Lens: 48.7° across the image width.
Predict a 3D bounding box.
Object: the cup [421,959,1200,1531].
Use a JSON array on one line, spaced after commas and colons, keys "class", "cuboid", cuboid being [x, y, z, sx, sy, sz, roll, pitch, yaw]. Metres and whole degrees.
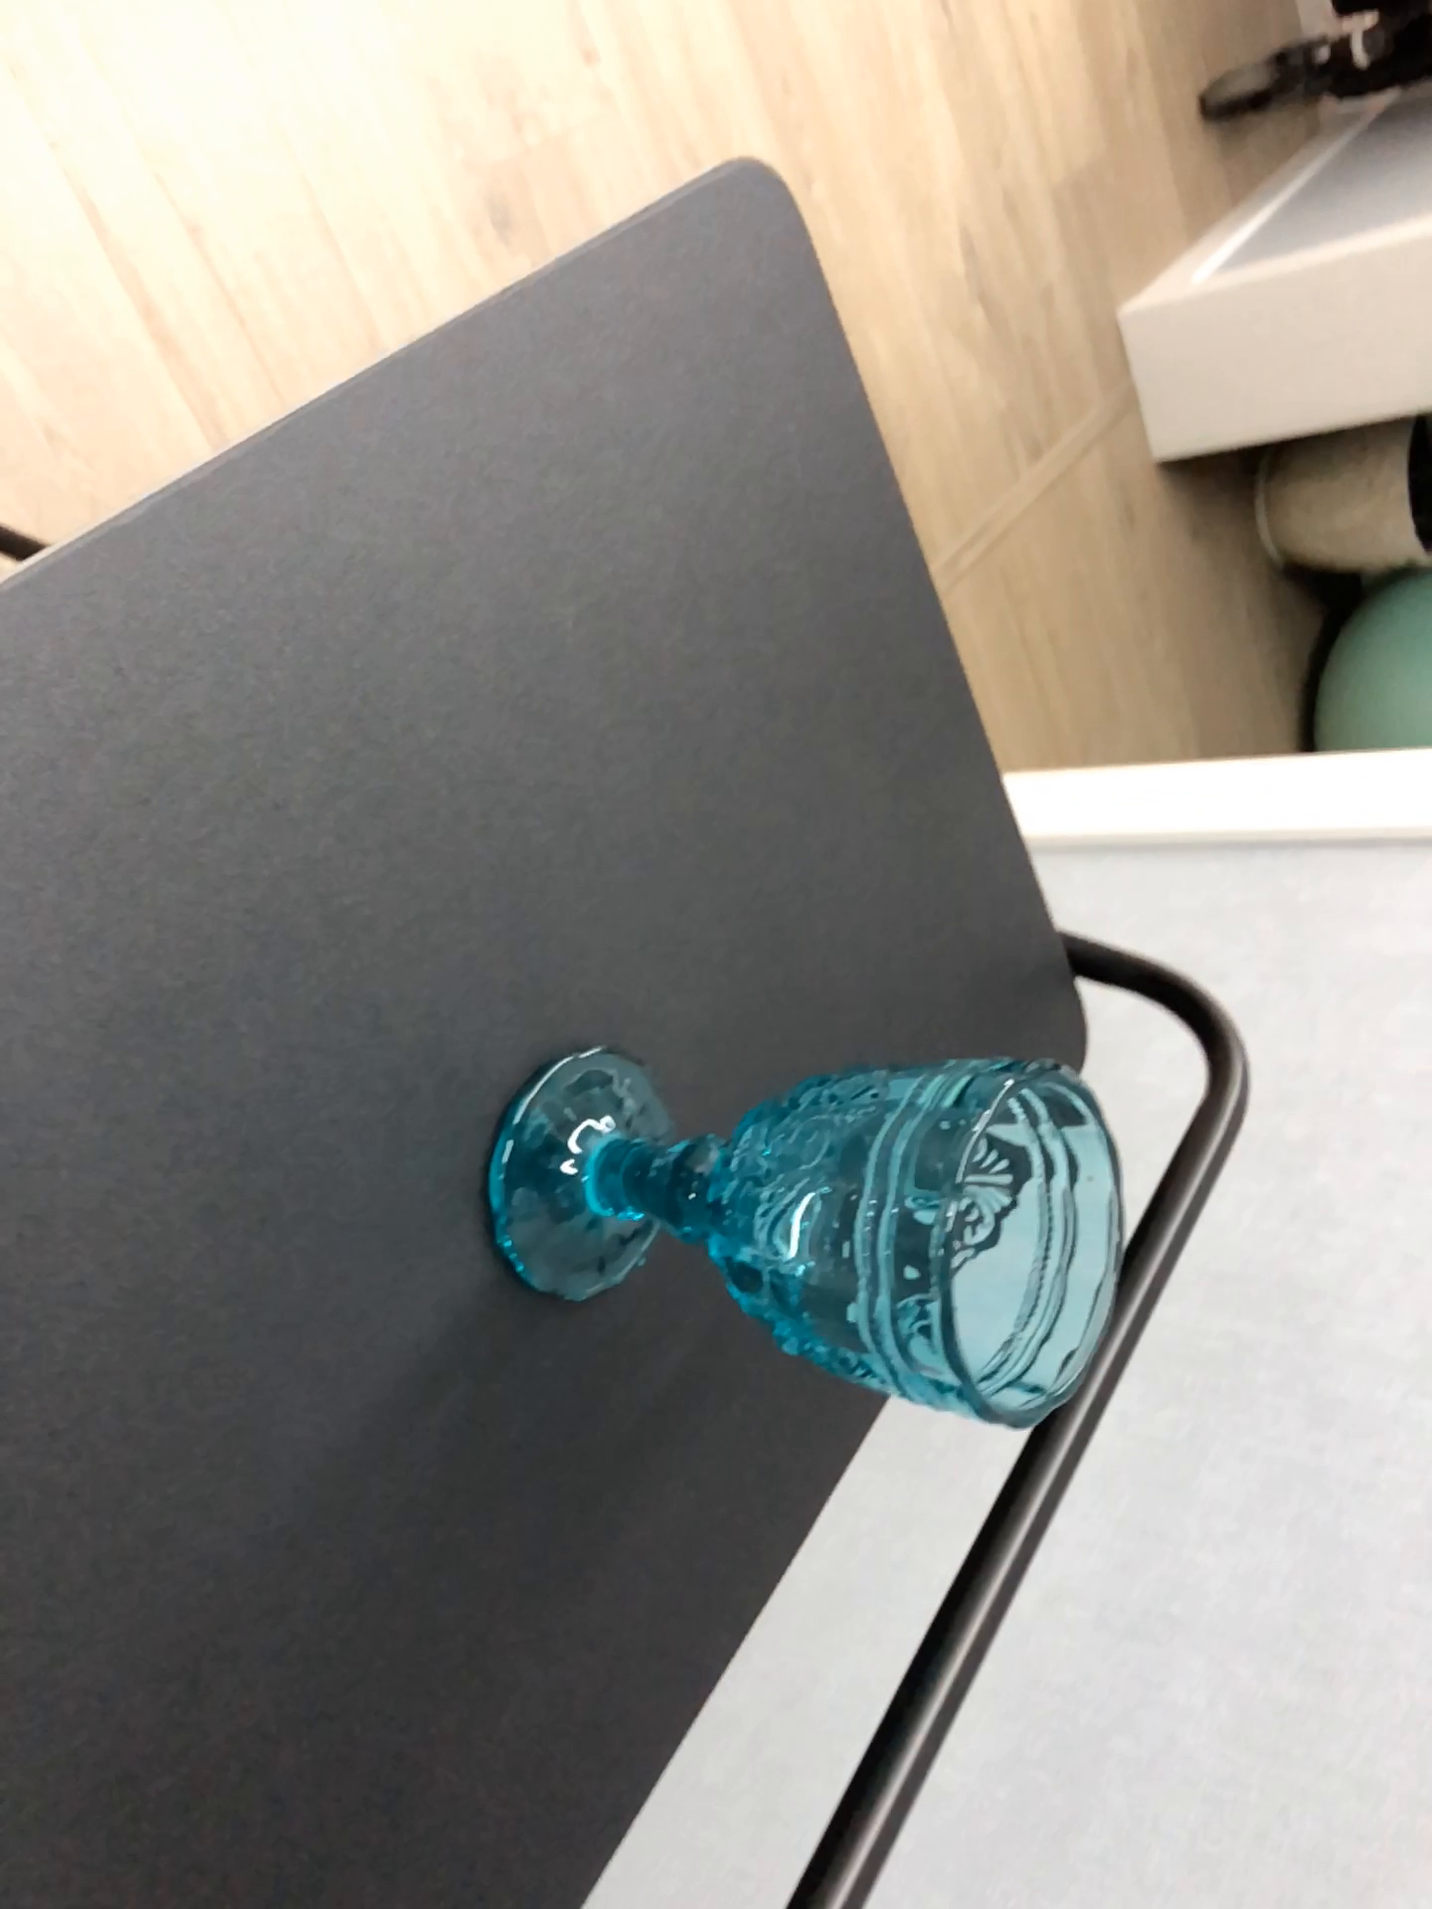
[{"class": "cup", "cuboid": [0.024, 0.067, 0.419, 0.085, 0.164, 0.095, -48, 126, -37]}]
